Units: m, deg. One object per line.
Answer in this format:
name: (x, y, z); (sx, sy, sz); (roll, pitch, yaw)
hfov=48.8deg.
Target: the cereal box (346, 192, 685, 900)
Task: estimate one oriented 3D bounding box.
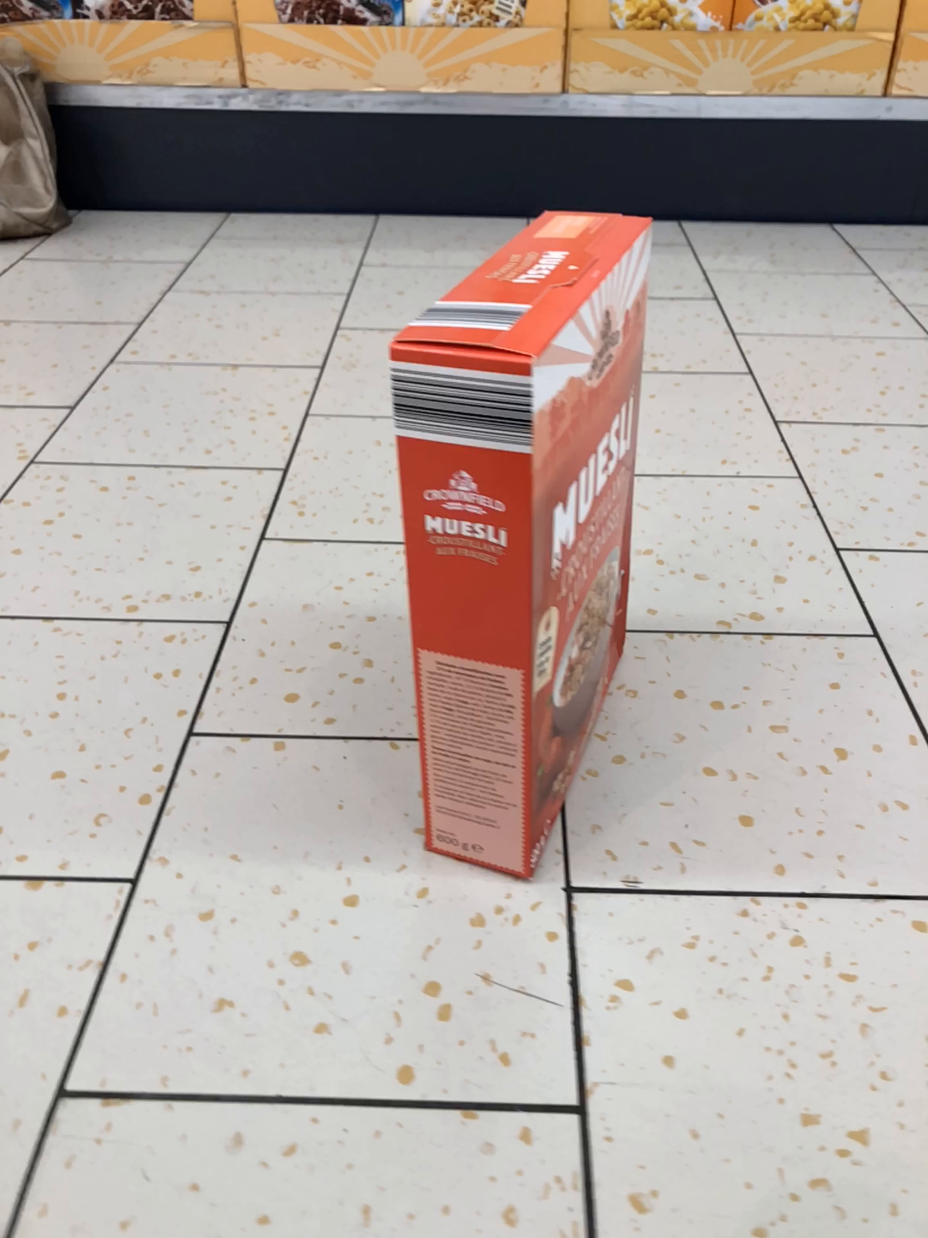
cereal box: (0.033, -0.039, 0.469); (0.070, 0.248, 0.201); (12, 36, 18)
